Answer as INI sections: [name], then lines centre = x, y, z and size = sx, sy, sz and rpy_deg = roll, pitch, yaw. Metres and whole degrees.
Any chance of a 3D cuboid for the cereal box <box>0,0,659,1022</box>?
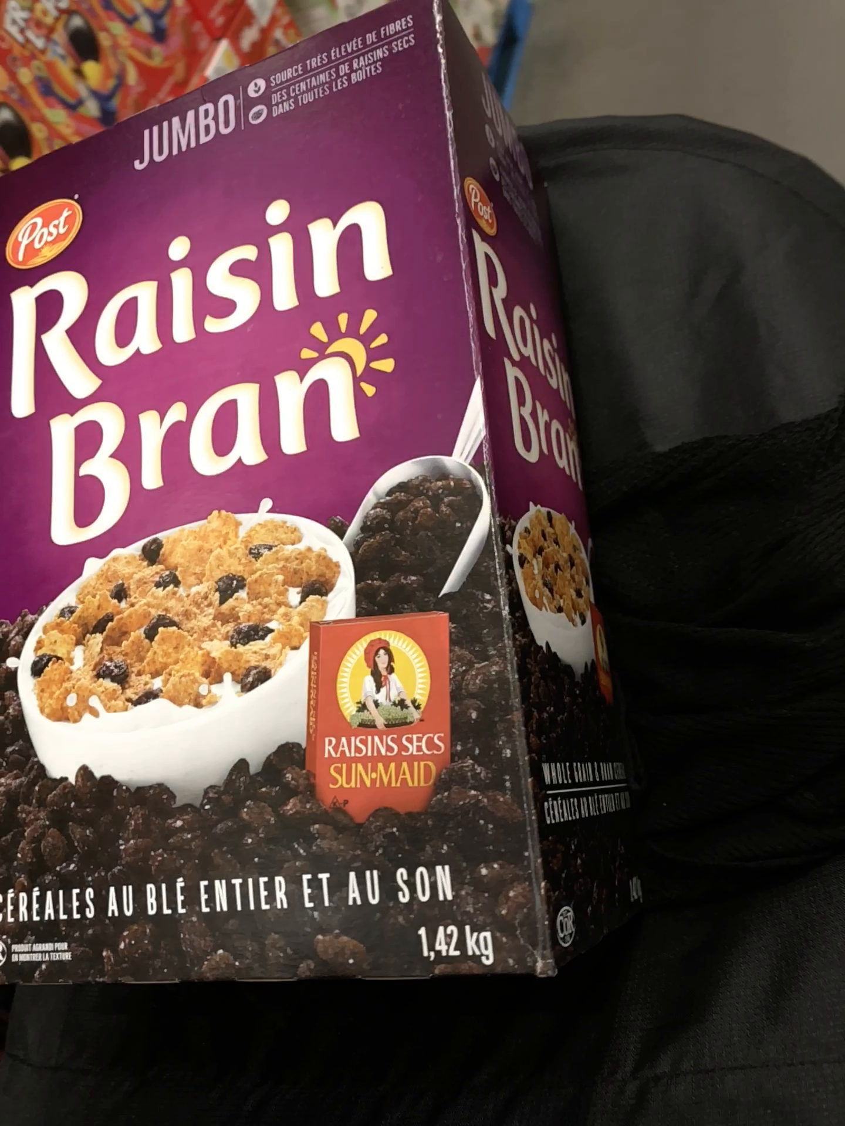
[cereal box]
centre = -0.056, -0.012, 0.329
size = 0.210, 0.110, 0.290
rpy_deg = -12, 75, 24
